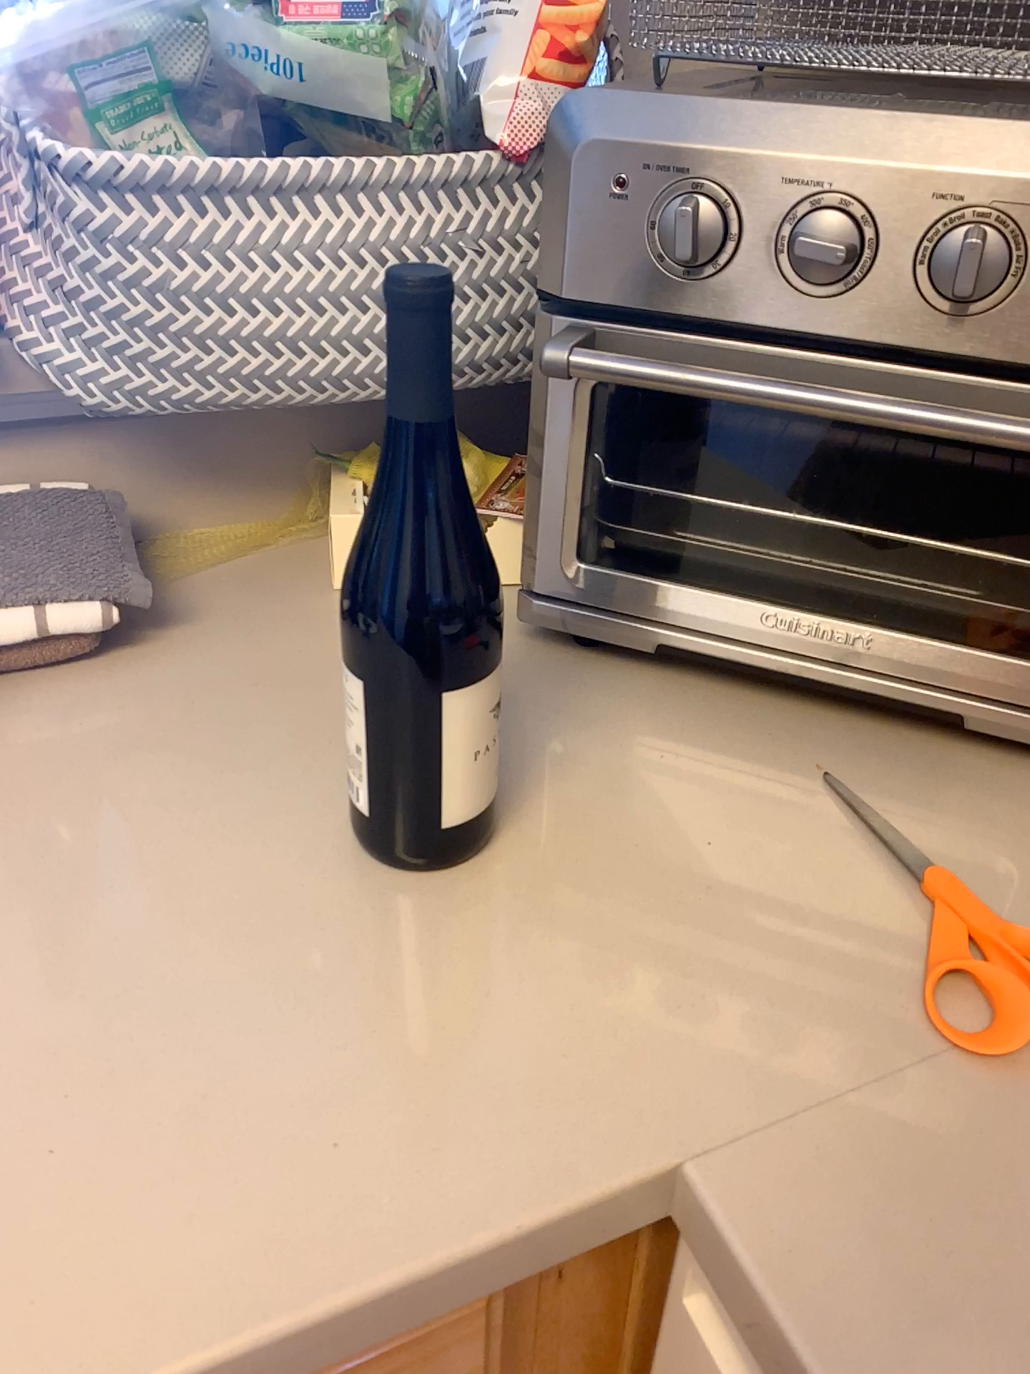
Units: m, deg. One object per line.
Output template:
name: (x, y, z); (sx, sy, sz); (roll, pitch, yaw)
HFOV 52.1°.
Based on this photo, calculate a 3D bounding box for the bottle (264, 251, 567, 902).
bottle: (-0.041, -0.043, 0.494); (0.090, 0.278, 0.090); (2, 33, -1)
